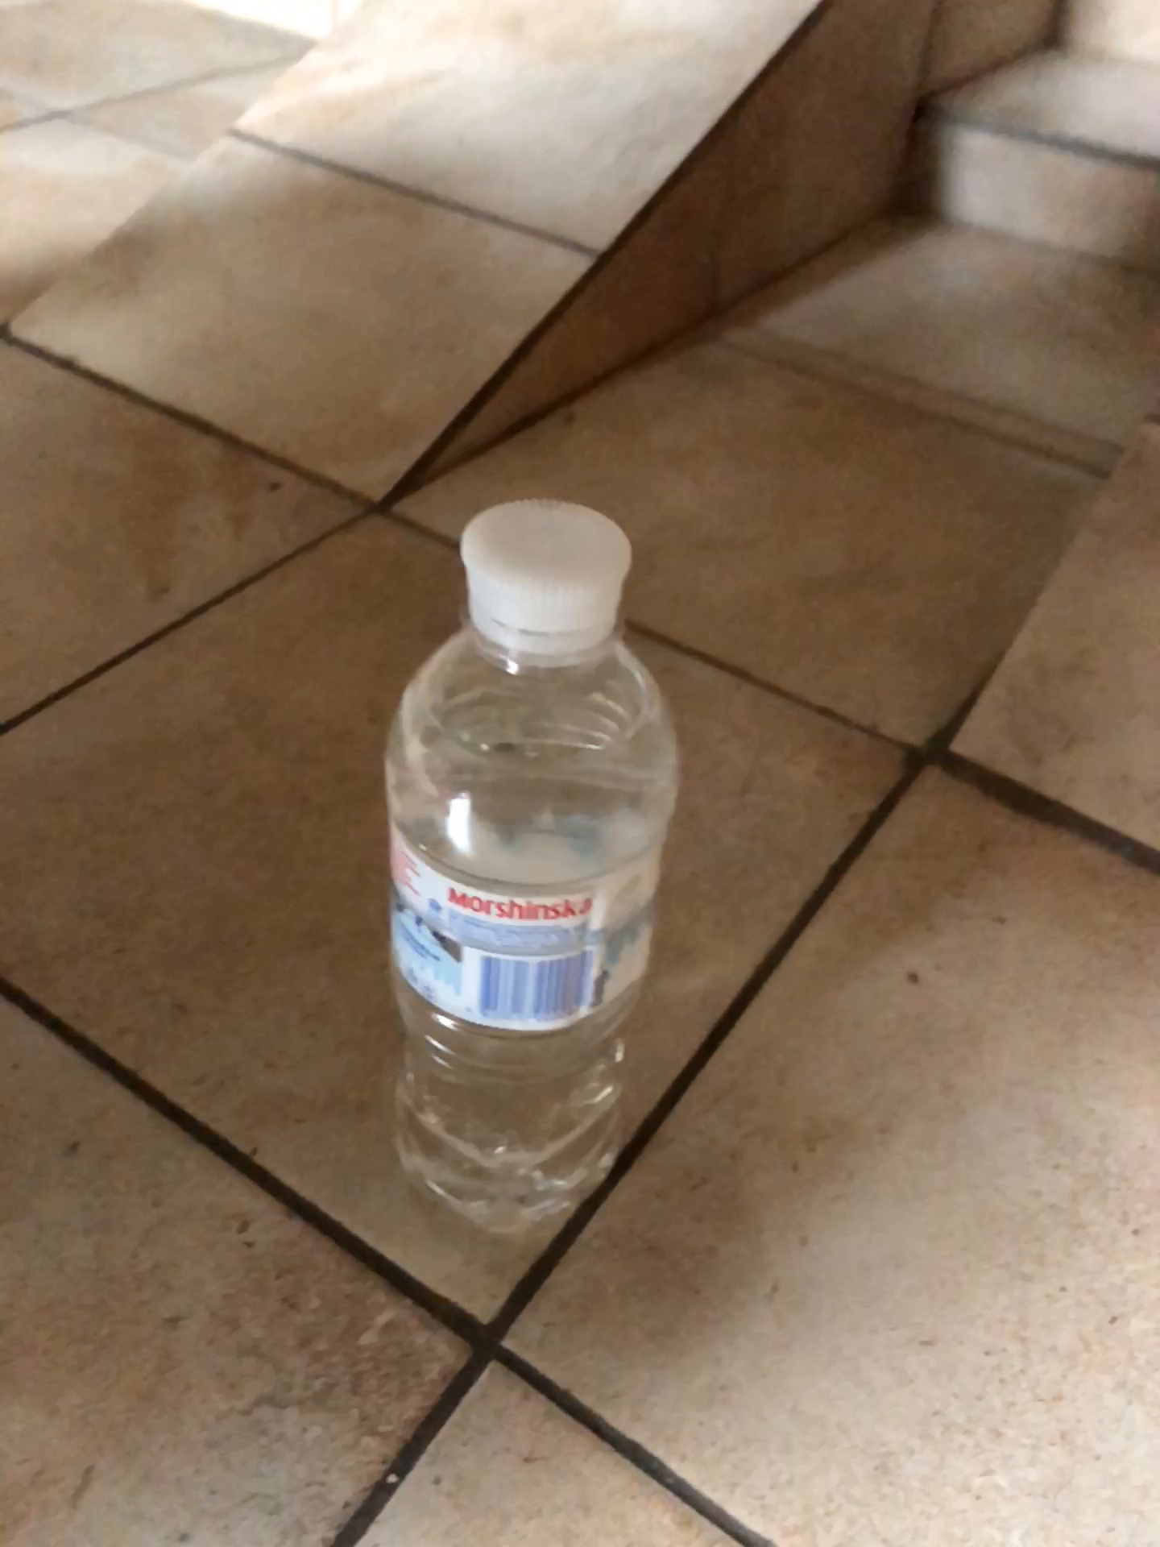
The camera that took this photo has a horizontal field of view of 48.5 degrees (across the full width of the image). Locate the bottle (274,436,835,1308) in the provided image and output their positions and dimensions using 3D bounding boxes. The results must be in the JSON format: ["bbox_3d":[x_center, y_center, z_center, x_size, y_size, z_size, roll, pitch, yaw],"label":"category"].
[{"bbox_3d":[-0.012,0.033,0.321,0.080,0.198,0.080,3,42,-2],"label":"bottle"}]
